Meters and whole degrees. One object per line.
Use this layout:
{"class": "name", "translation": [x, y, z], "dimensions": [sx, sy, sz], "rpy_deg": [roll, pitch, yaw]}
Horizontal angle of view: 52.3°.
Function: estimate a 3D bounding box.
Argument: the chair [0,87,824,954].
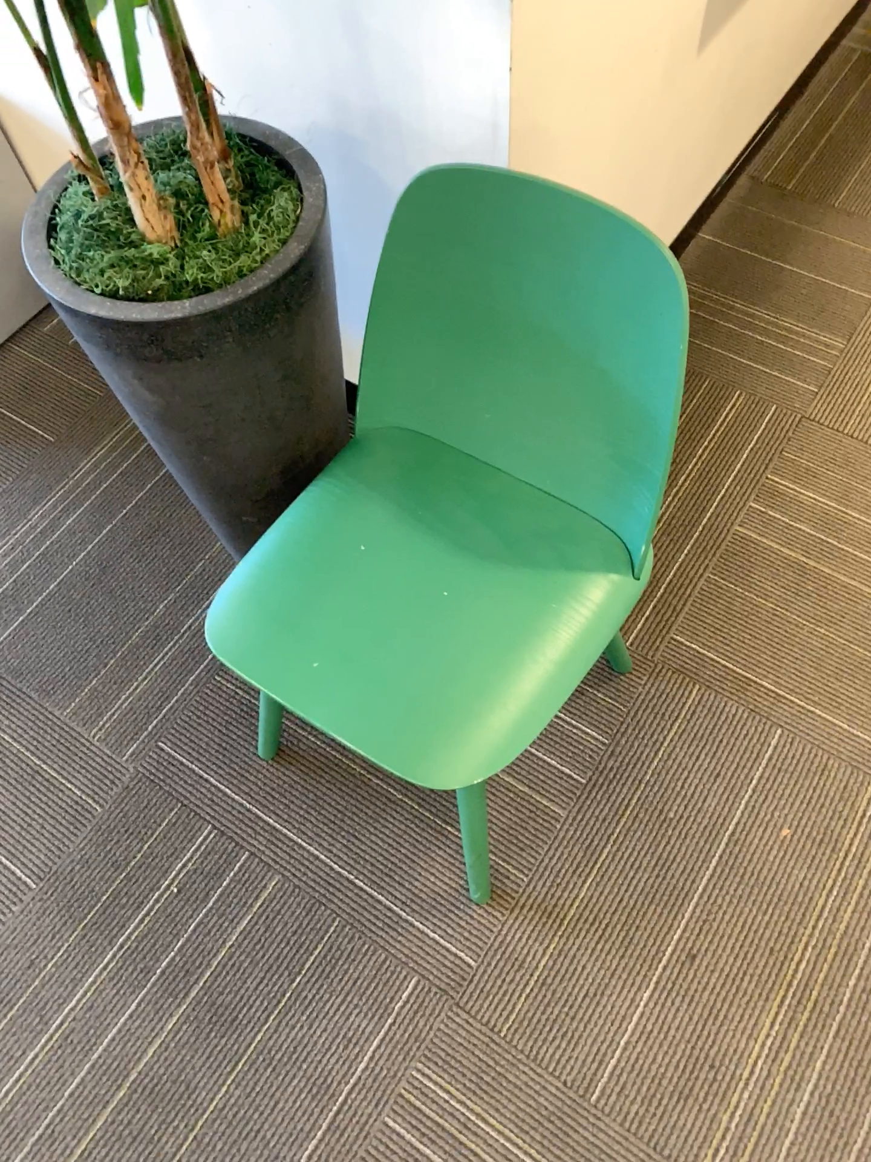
{"class": "chair", "translation": [-0.003, -0.013, 1.087], "dimensions": [0.501, 0.748, 0.601], "rpy_deg": [29, 66, 19]}
